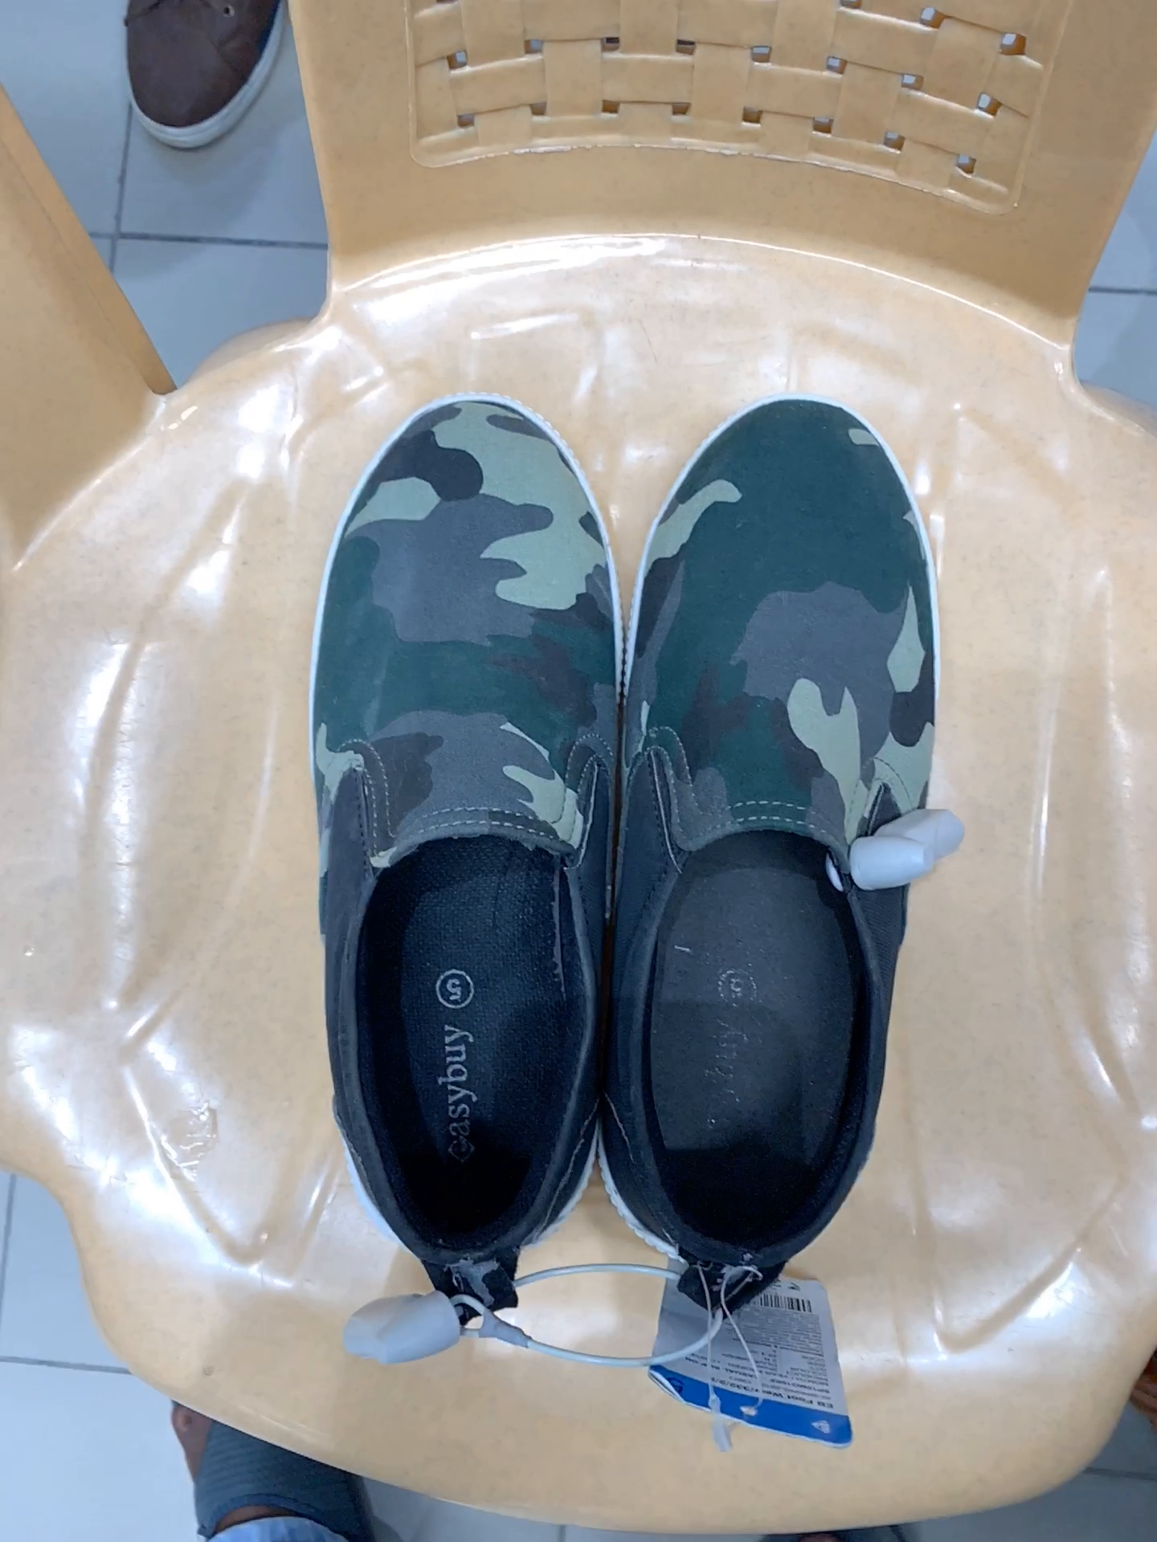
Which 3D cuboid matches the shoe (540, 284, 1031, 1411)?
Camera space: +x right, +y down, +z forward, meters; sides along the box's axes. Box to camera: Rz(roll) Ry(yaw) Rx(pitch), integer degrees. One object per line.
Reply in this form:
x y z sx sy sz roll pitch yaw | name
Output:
0.051 0.015 0.310 0.090 0.100 0.240 5 83 4 | shoe

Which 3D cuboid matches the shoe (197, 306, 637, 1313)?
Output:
-0.035 0.010 0.314 0.090 0.100 0.220 -3 86 4 | shoe
